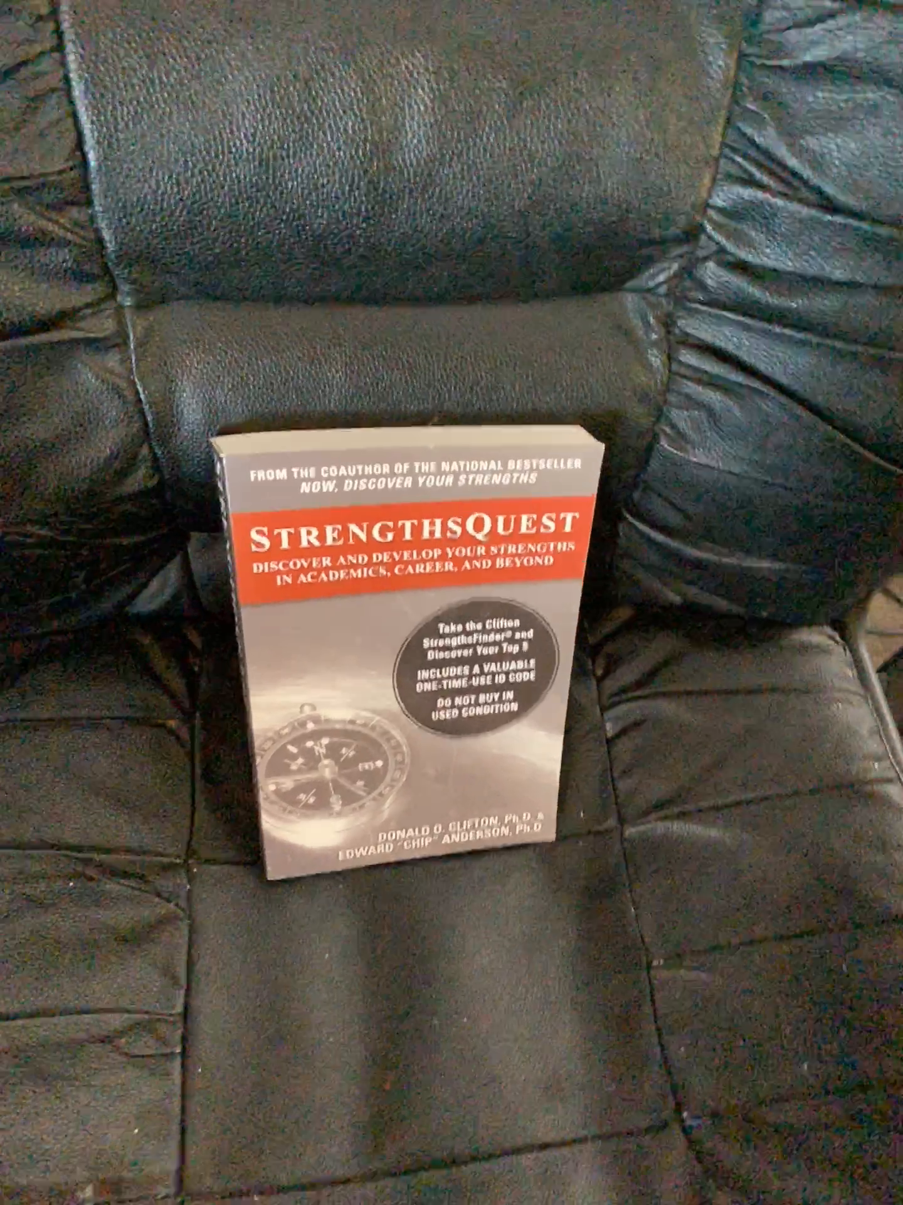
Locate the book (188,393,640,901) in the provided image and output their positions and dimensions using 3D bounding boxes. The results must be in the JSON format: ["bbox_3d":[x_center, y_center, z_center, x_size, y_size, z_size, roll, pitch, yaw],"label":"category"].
[{"bbox_3d":[-0.014,0.031,0.421,0.170,0.239,0.030,-6,33,-10],"label":"book"}]
